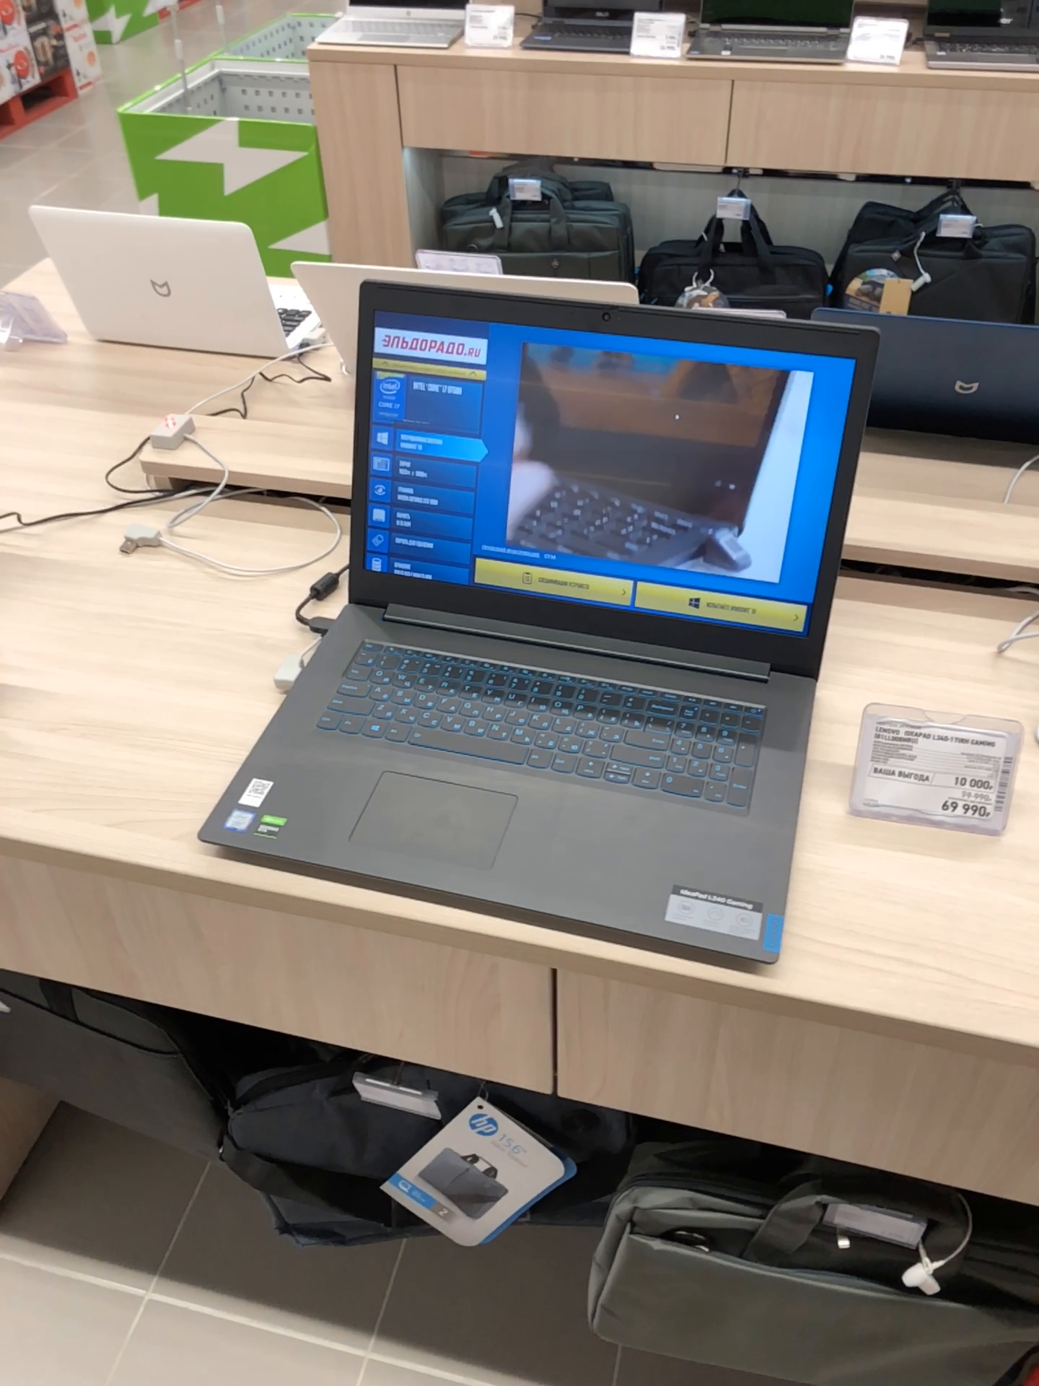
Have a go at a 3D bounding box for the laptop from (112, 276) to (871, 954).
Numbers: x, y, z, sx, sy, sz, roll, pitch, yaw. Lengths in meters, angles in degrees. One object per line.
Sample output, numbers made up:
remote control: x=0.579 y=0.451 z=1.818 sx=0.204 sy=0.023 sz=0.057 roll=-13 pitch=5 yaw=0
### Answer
laptop: x=0.015 y=-0.085 z=0.813 sx=0.395 sy=0.242 sz=0.382 roll=10 pitch=43 yaw=13
